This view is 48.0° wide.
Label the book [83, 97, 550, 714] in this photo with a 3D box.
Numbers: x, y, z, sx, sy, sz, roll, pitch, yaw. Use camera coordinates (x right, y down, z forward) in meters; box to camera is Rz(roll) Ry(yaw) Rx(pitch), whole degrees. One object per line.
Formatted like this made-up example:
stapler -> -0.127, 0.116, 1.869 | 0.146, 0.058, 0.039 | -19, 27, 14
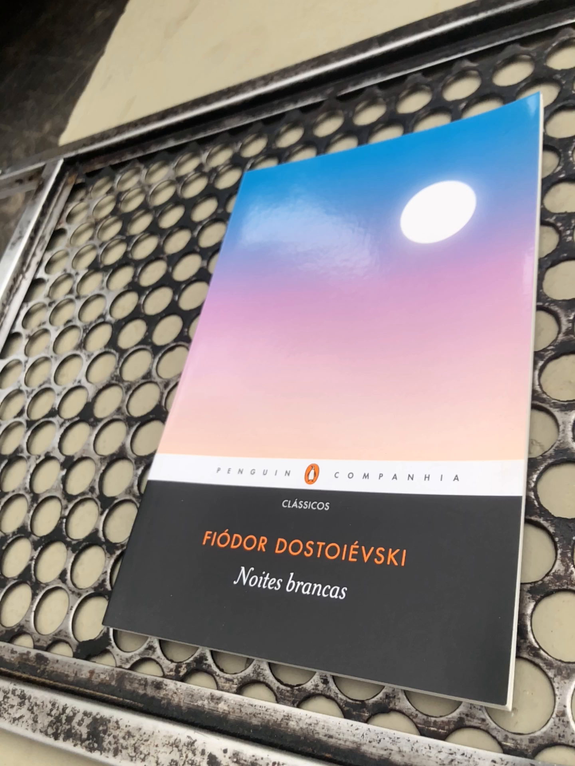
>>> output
book -> 0.014, -0.009, 0.218 | 0.133, 0.010, 0.191 | -3, 60, 31
